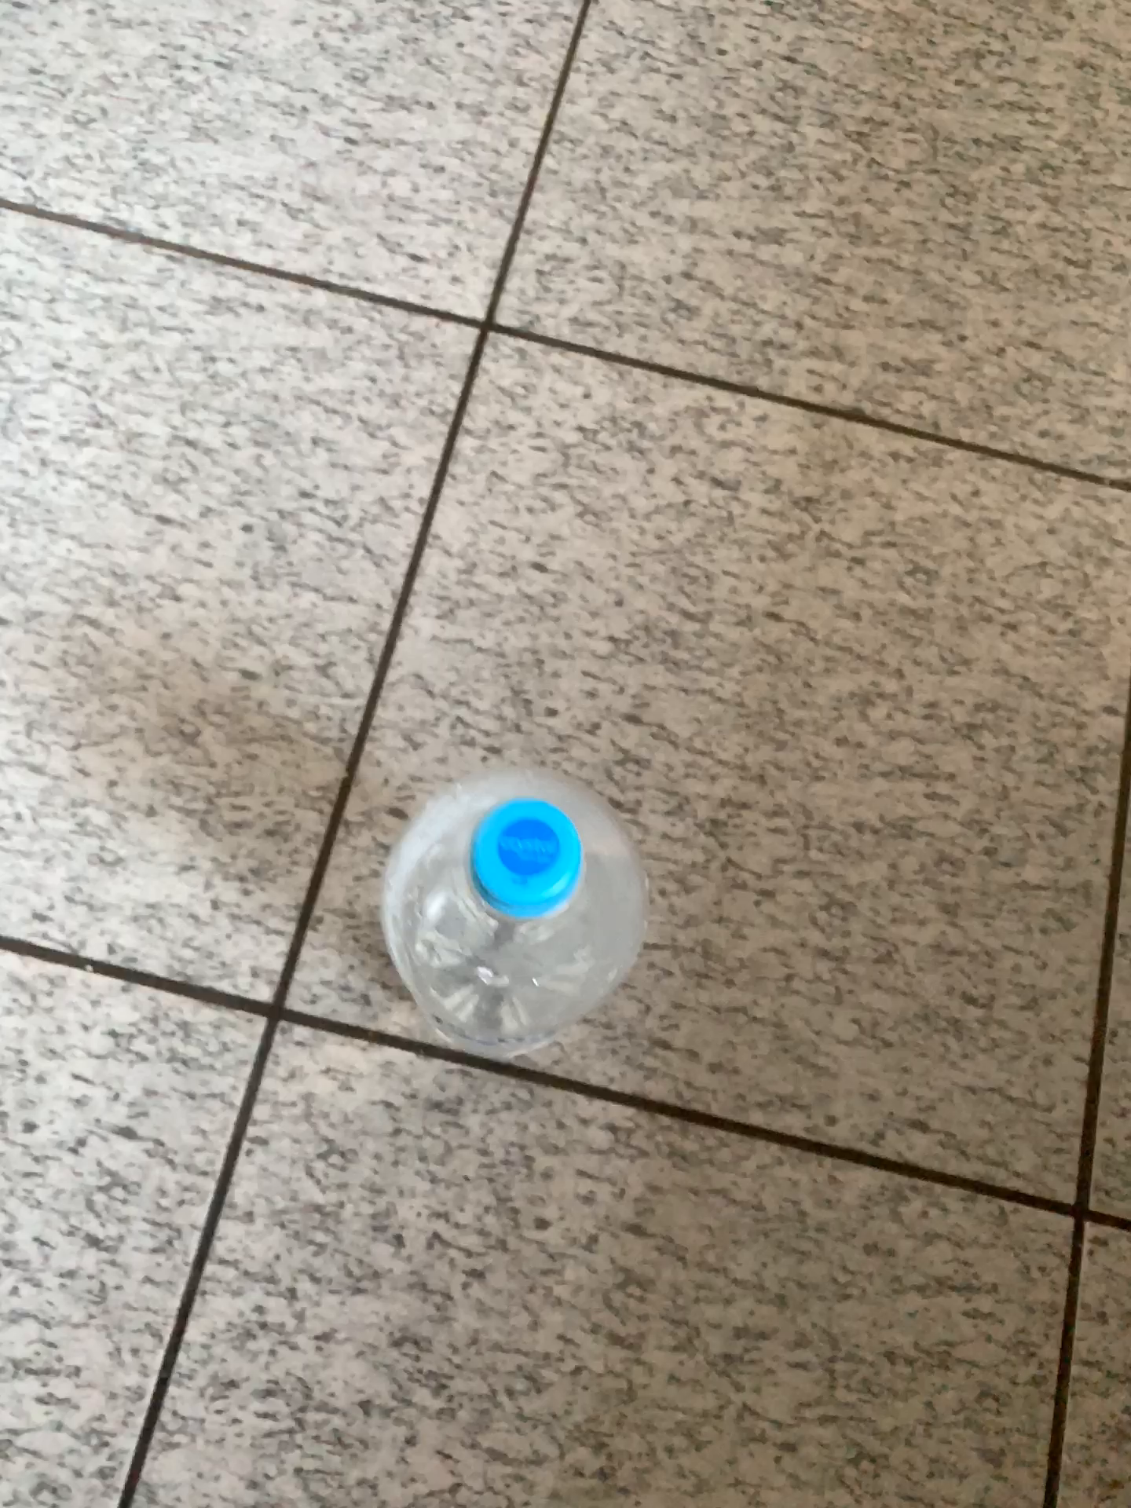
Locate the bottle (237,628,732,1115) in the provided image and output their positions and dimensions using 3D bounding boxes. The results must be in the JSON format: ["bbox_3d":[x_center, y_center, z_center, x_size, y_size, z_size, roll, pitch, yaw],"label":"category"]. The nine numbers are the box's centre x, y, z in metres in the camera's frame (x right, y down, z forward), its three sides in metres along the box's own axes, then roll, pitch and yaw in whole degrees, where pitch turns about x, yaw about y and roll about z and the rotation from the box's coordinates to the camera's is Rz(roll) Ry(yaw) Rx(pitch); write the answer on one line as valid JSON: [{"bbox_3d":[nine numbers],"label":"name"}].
[{"bbox_3d":[-0.028,0.068,0.436,0.090,0.300,0.090,1,74,-3],"label":"bottle"}]
